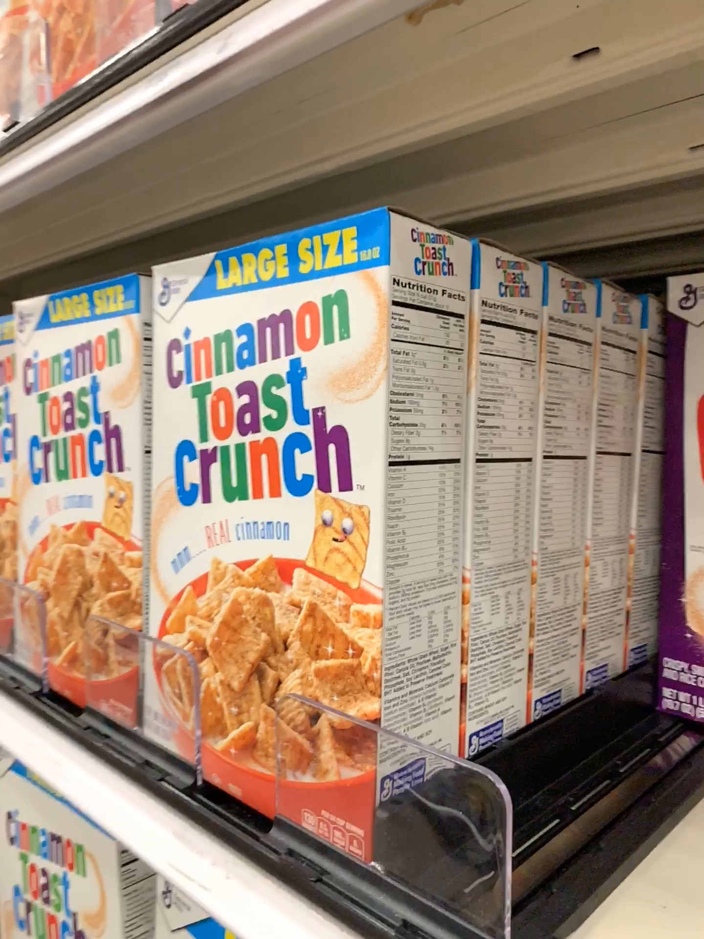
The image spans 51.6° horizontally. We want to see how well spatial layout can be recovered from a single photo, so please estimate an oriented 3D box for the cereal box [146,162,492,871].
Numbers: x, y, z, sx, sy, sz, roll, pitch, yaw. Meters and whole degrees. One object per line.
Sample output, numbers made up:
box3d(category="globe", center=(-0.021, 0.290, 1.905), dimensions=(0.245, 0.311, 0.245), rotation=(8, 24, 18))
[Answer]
box3d(category="cereal box", center=(-0.029, 0.016, 0.388), dimensions=(0.190, 0.290, 0.070), rotation=(3, 4, 44))
